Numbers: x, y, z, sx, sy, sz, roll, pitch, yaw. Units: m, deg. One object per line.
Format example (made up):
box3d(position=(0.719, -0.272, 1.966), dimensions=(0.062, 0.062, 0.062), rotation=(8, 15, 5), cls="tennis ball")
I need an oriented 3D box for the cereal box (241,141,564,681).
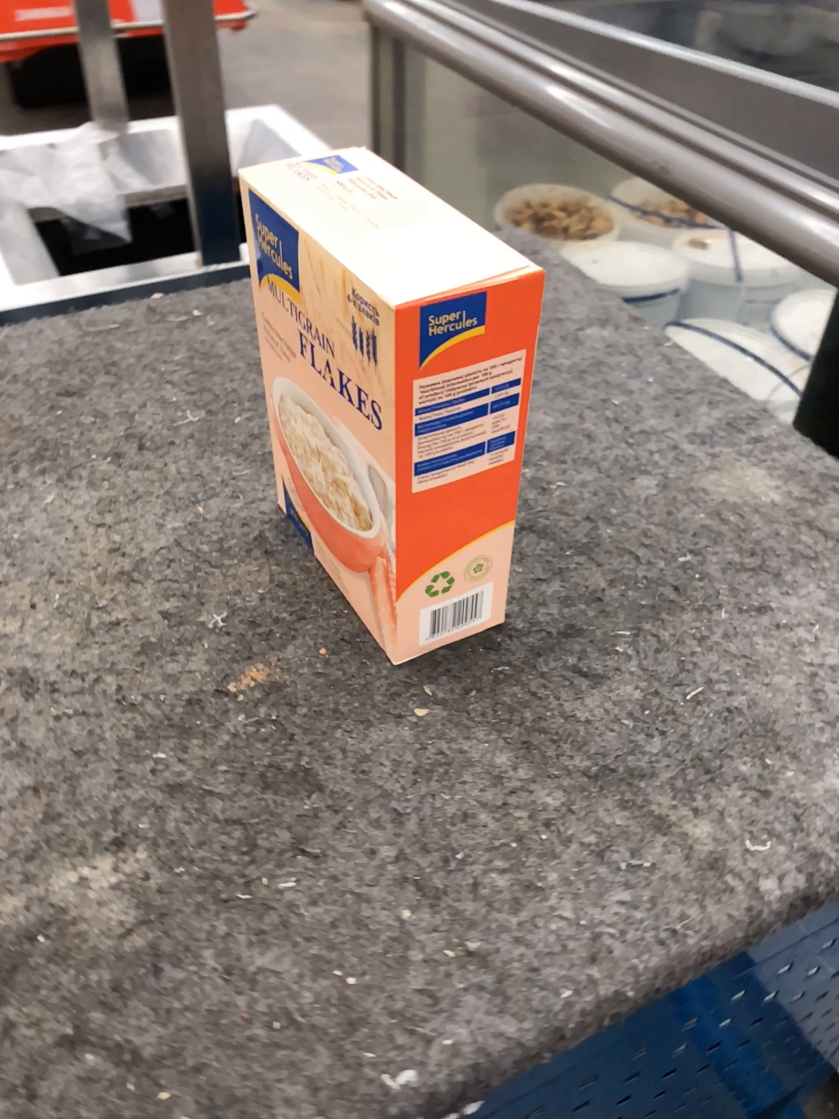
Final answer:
box3d(position=(-0.013, -0.070, 0.447), dimensions=(0.070, 0.199, 0.151), rotation=(-21, 46, -21), cls="cereal box")
